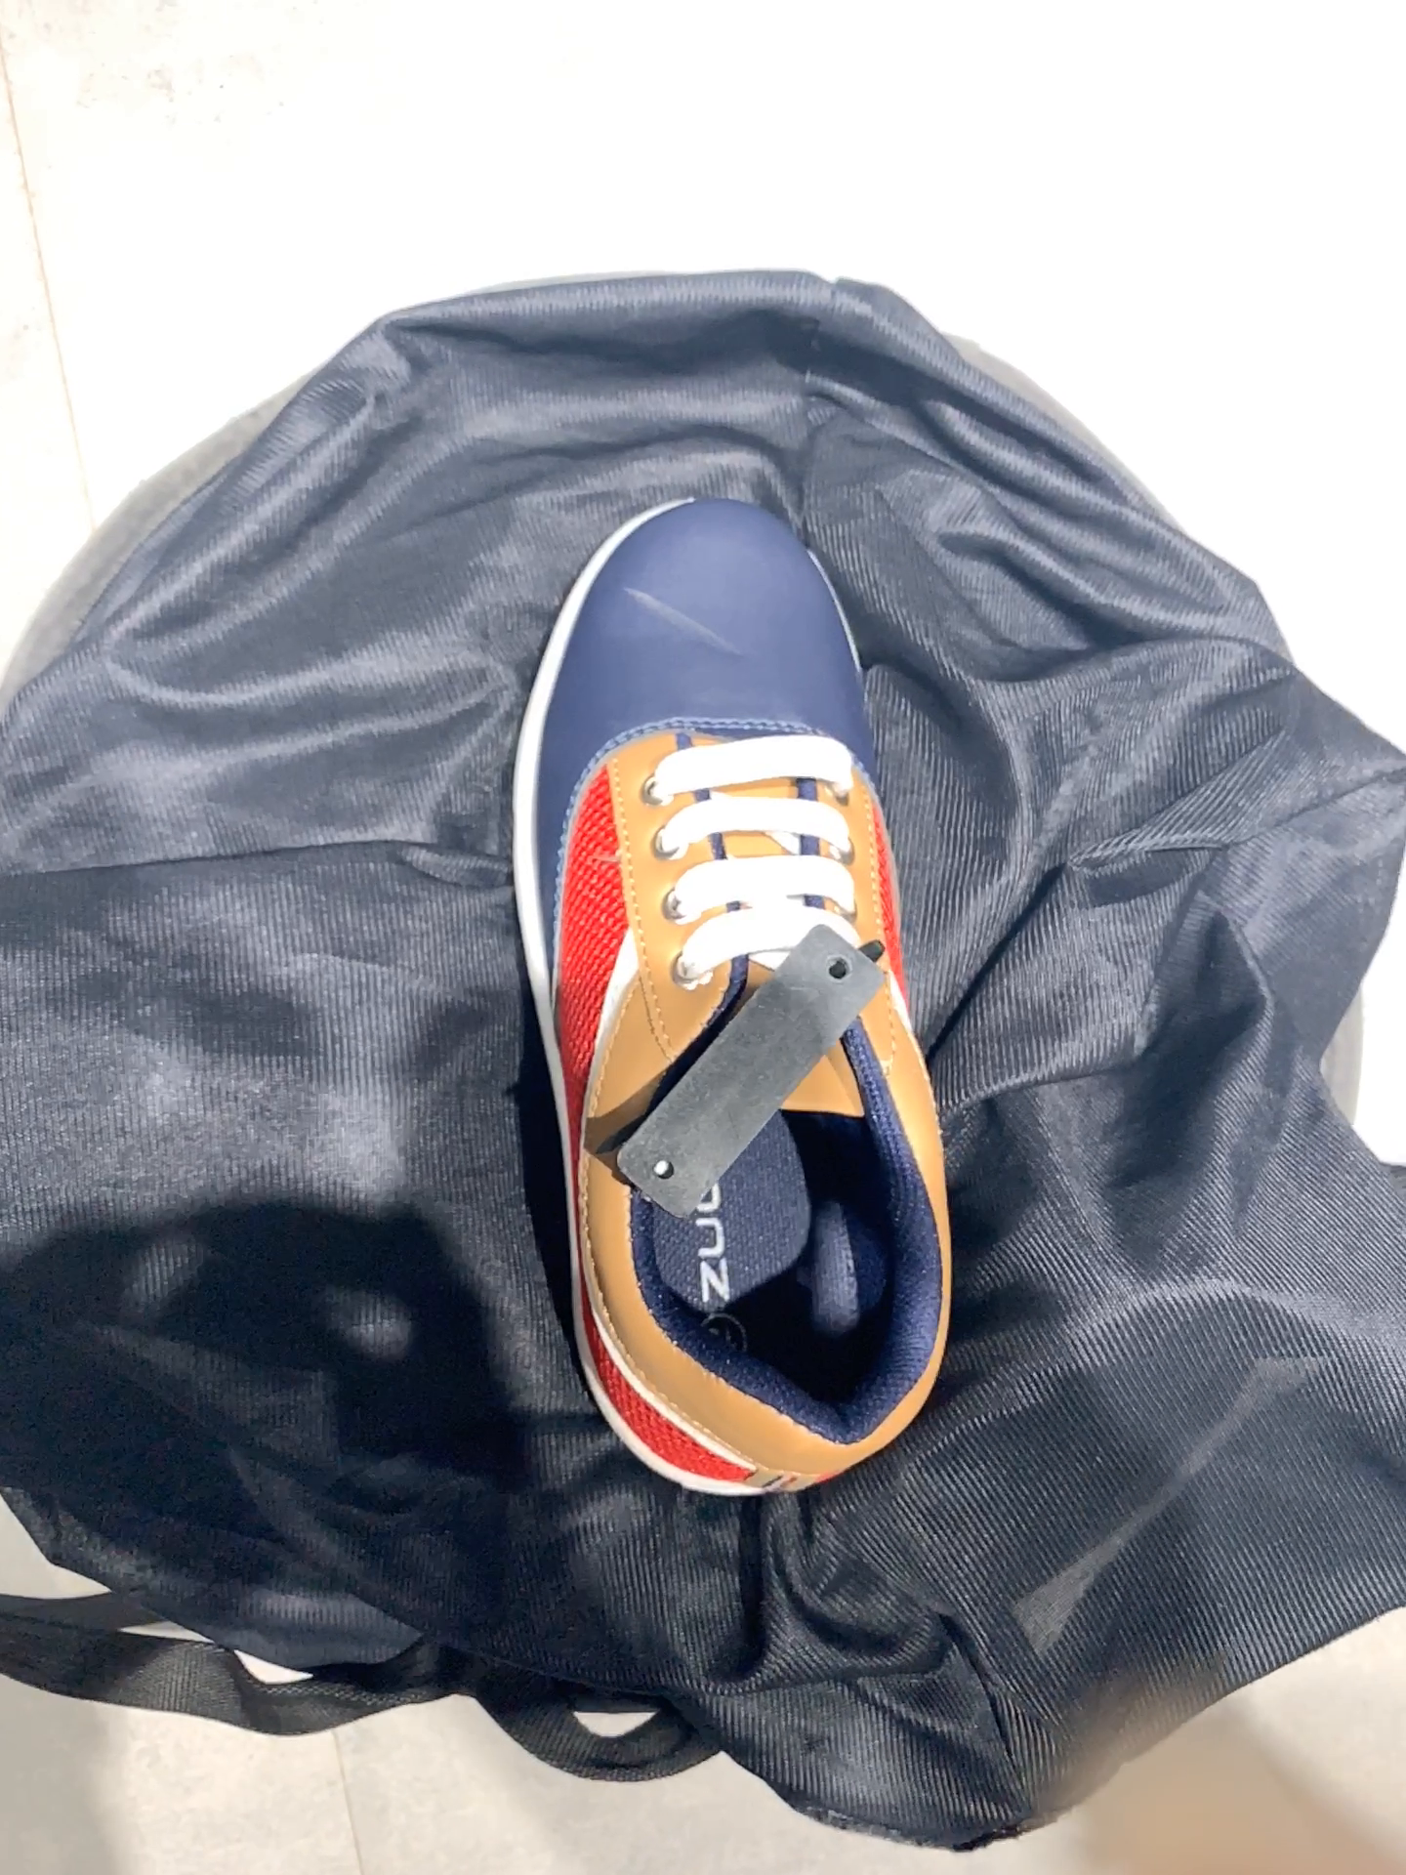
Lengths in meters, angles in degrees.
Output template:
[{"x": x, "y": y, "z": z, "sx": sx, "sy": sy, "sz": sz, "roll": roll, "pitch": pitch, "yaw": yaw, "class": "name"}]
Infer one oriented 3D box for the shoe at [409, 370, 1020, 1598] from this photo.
[{"x": -0.002, "y": 0.006, "z": 0.264, "sx": 0.080, "sy": 0.070, "sz": 0.190, "roll": -5, "pitch": 79, "yaw": -2, "class": "shoe"}]
